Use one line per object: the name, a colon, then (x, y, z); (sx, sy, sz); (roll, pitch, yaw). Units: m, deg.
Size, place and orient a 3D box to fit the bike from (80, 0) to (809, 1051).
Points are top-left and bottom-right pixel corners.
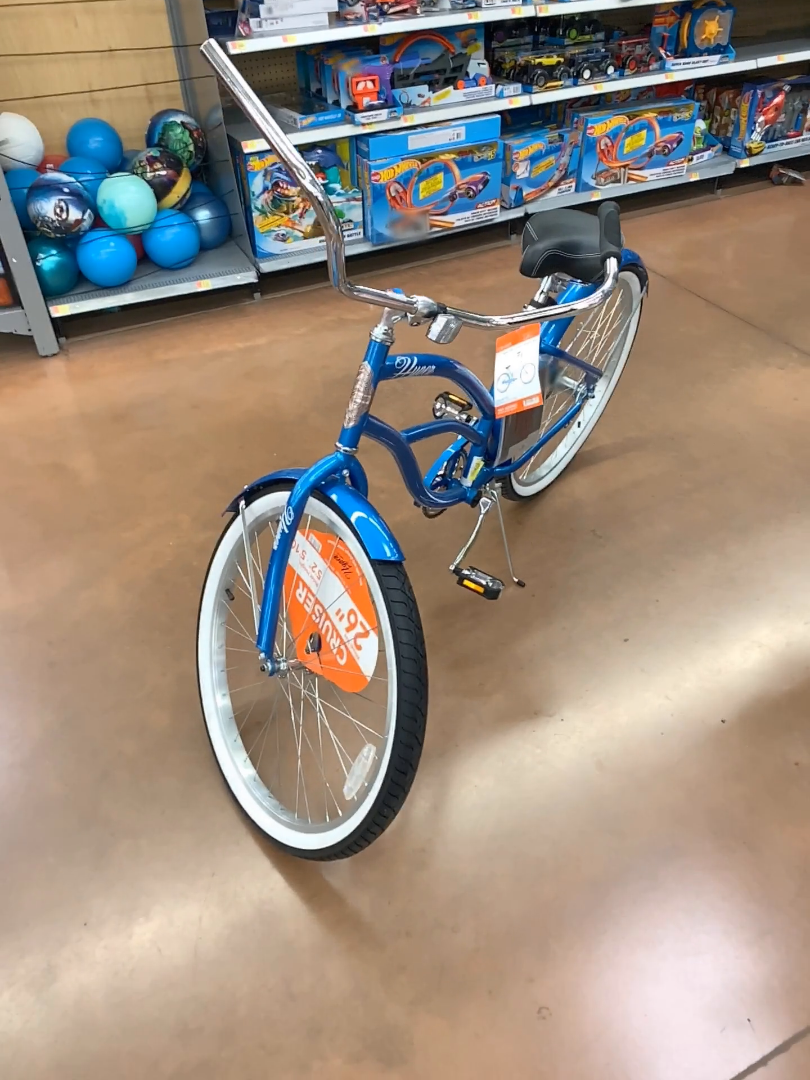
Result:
bike: (0.334, -0.317, 1.587); (0.875, 1.208, 1.534); (17, 45, 21)
